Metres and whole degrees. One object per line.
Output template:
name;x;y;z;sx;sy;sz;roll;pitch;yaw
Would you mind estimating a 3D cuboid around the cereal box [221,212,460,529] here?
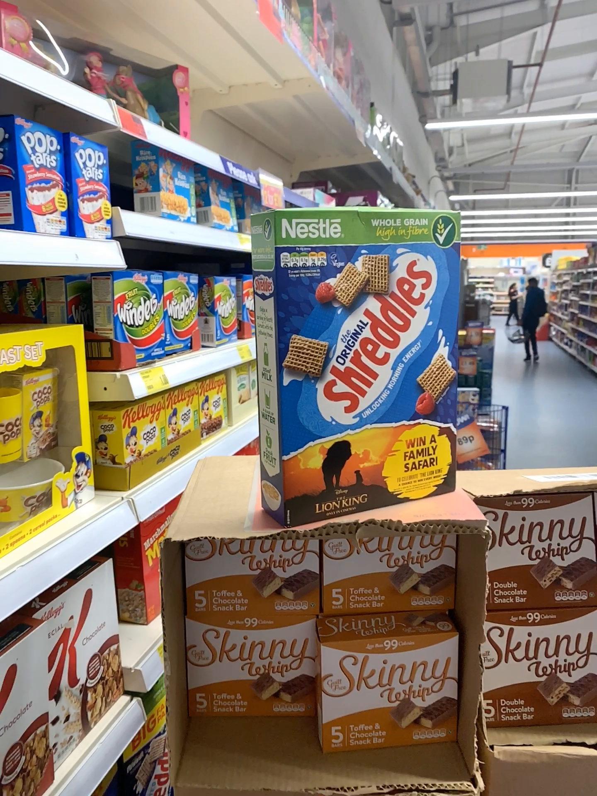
cereal box;0.044;-0.035;0.587;0.210;0.269;0.070;-7;13;-24
